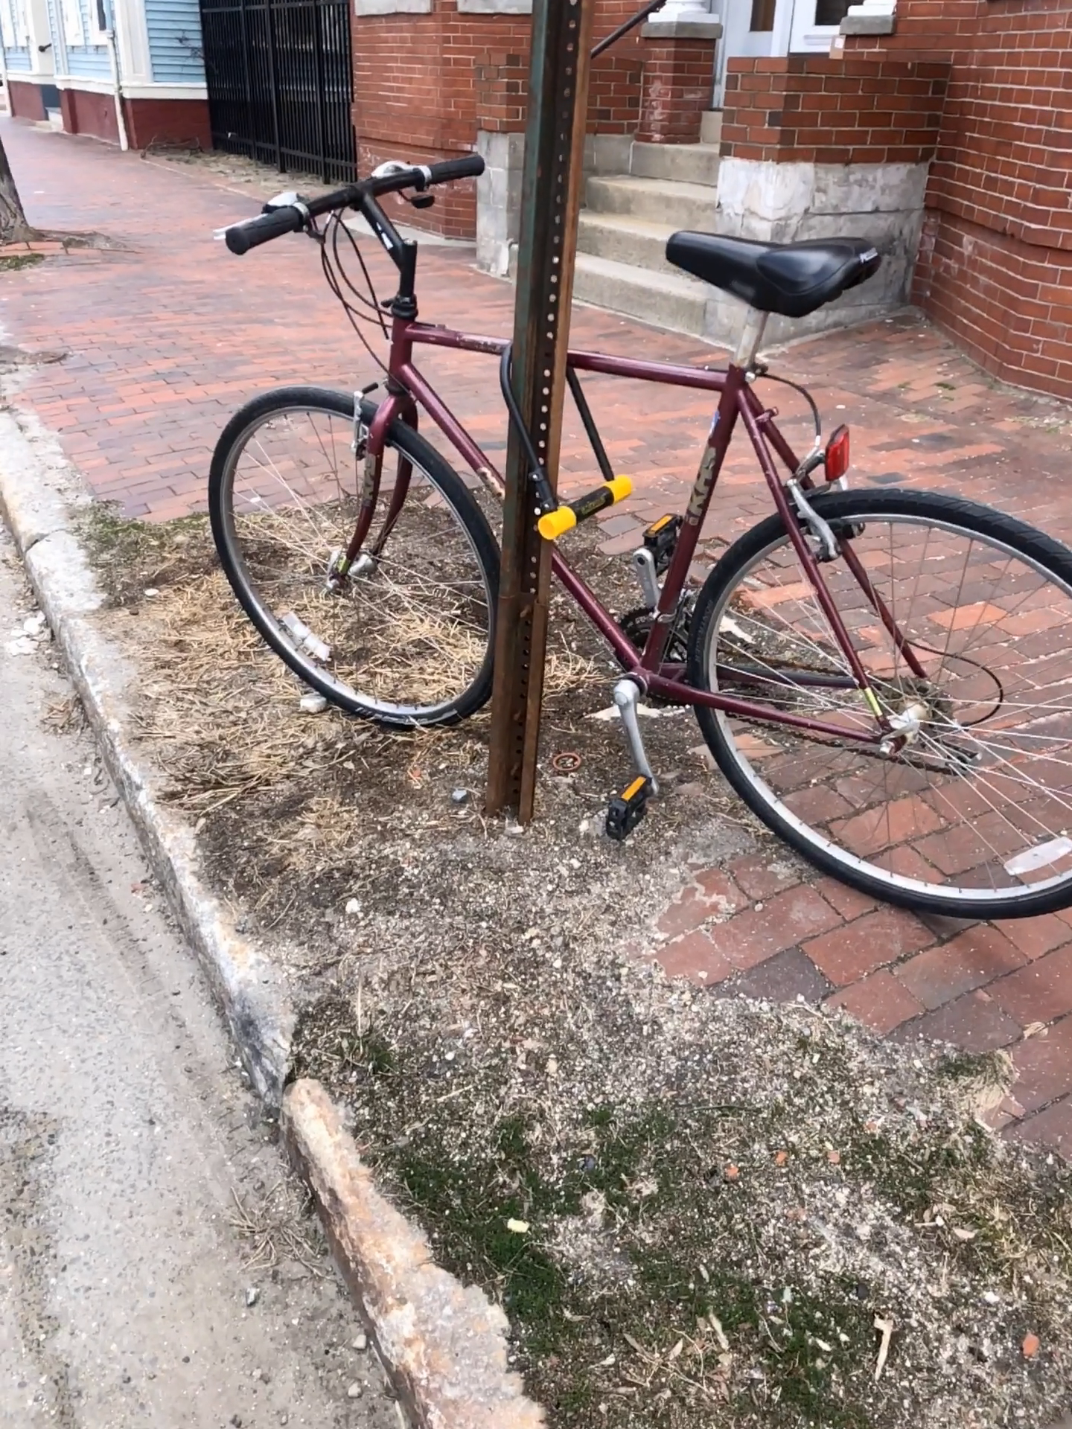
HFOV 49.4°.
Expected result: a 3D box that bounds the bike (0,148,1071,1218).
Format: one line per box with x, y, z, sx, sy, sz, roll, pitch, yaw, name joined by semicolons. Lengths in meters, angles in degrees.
0.064;-0.245;1.771;1.728;1.011;0.671;19;32;29;bike
